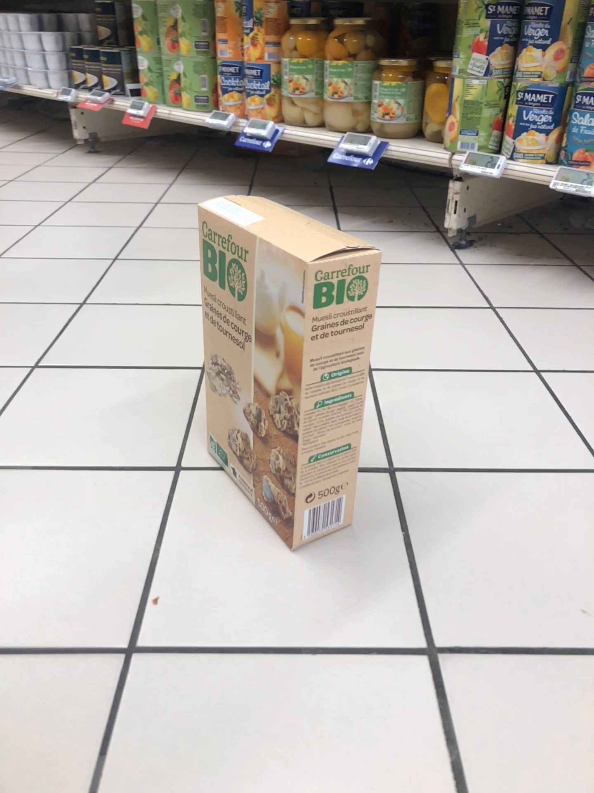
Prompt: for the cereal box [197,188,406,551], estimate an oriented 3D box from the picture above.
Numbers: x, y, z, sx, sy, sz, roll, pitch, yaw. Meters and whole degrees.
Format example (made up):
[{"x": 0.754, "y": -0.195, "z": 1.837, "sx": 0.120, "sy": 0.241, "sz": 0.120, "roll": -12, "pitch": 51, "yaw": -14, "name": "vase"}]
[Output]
[{"x": -0.008, "y": -0.028, "z": 0.517, "sx": 0.070, "sy": 0.229, "sz": 0.170, "roll": -15, "pitch": 33, "yaw": -28, "name": "cereal box"}]
